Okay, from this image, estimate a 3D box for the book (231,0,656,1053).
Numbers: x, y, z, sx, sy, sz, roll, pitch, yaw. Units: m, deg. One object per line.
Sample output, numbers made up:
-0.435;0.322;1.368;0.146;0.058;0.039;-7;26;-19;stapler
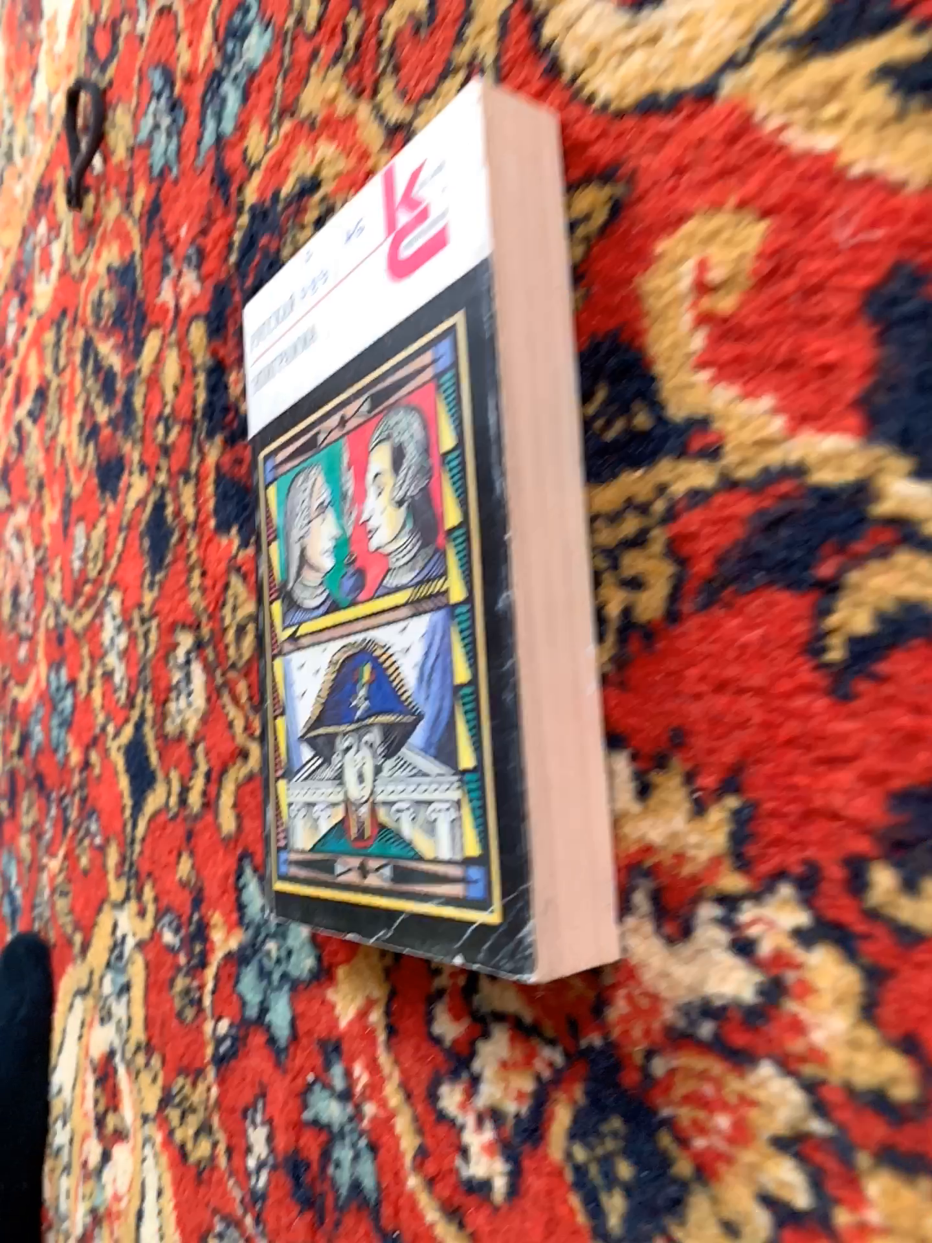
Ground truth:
-0.015;-0.013;0.198;0.111;0.022;0.163;-13;77;54;book
